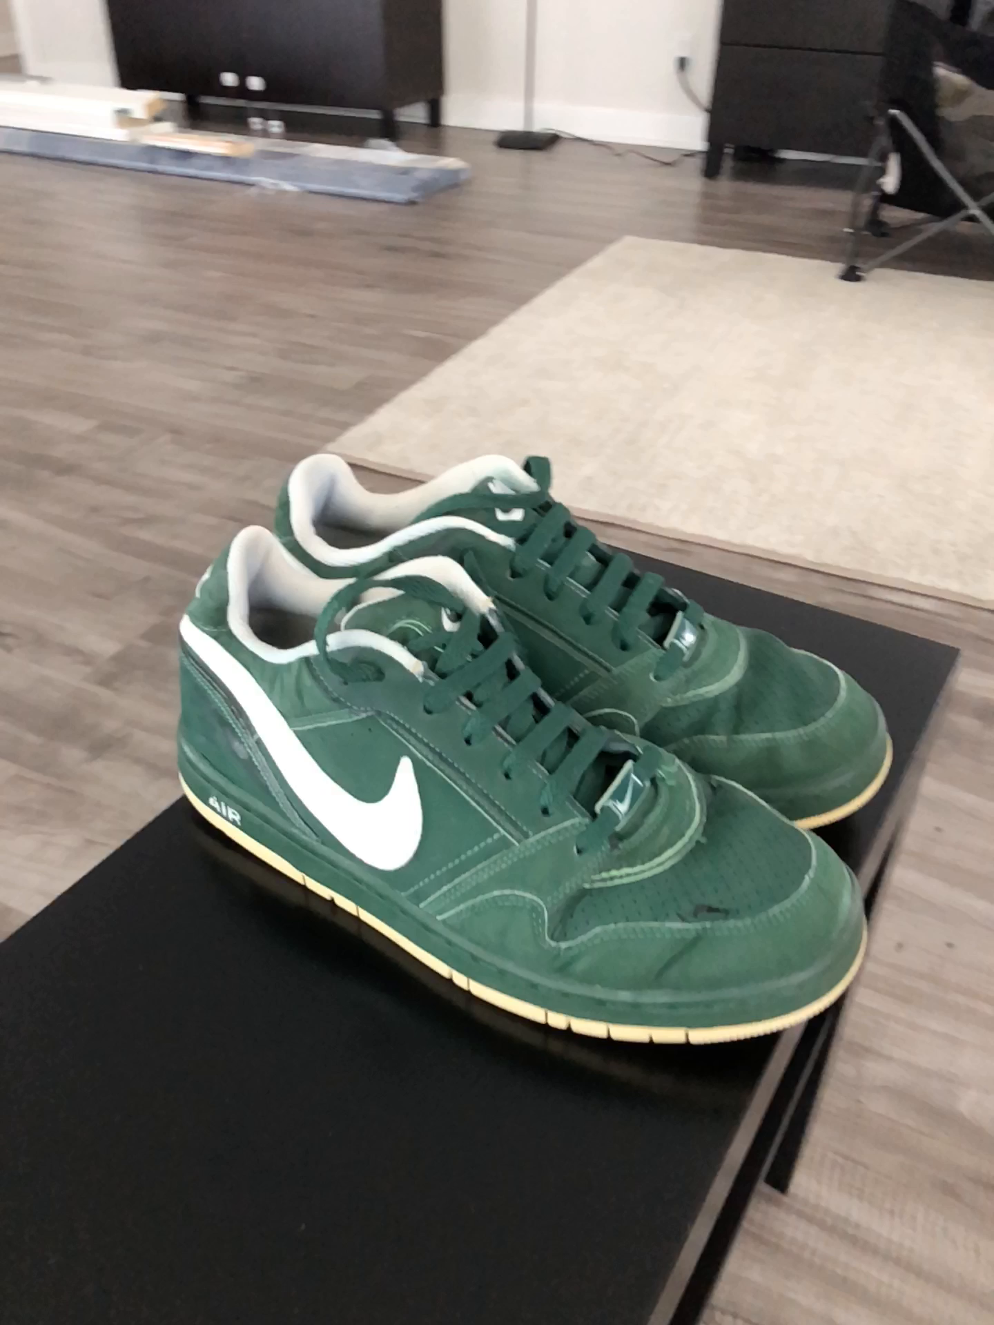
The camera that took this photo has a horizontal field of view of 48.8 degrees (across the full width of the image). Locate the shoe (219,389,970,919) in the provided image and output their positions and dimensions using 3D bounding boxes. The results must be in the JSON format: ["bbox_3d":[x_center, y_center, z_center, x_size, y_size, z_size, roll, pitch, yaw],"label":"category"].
[{"bbox_3d":[0.033,-0.018,0.467,0.281,0.100,0.110,20,40,21],"label":"shoe"}]

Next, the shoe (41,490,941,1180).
[{"bbox_3d":[-0.013,0.043,0.396,0.292,0.100,0.100,22,41,23],"label":"shoe"}]
